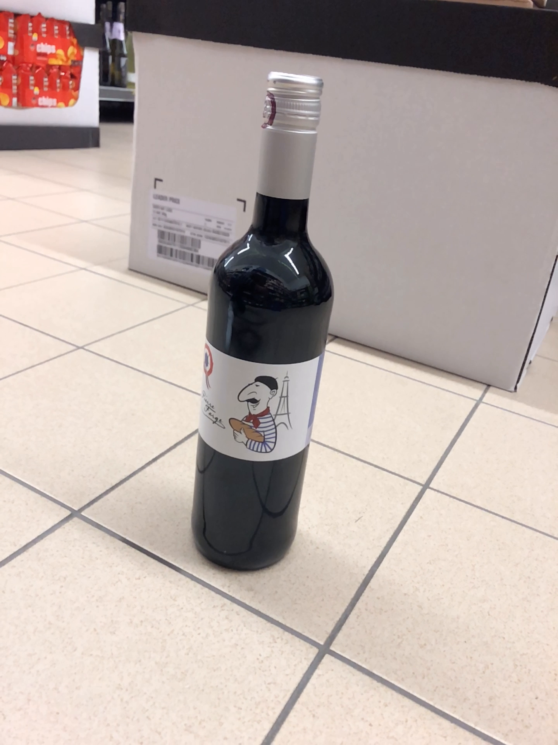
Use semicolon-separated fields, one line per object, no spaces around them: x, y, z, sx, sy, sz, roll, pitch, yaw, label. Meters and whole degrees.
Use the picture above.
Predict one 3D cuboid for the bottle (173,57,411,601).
0.000;-0.016;0.372;0.080;0.298;0.081;6;25;-3;bottle
